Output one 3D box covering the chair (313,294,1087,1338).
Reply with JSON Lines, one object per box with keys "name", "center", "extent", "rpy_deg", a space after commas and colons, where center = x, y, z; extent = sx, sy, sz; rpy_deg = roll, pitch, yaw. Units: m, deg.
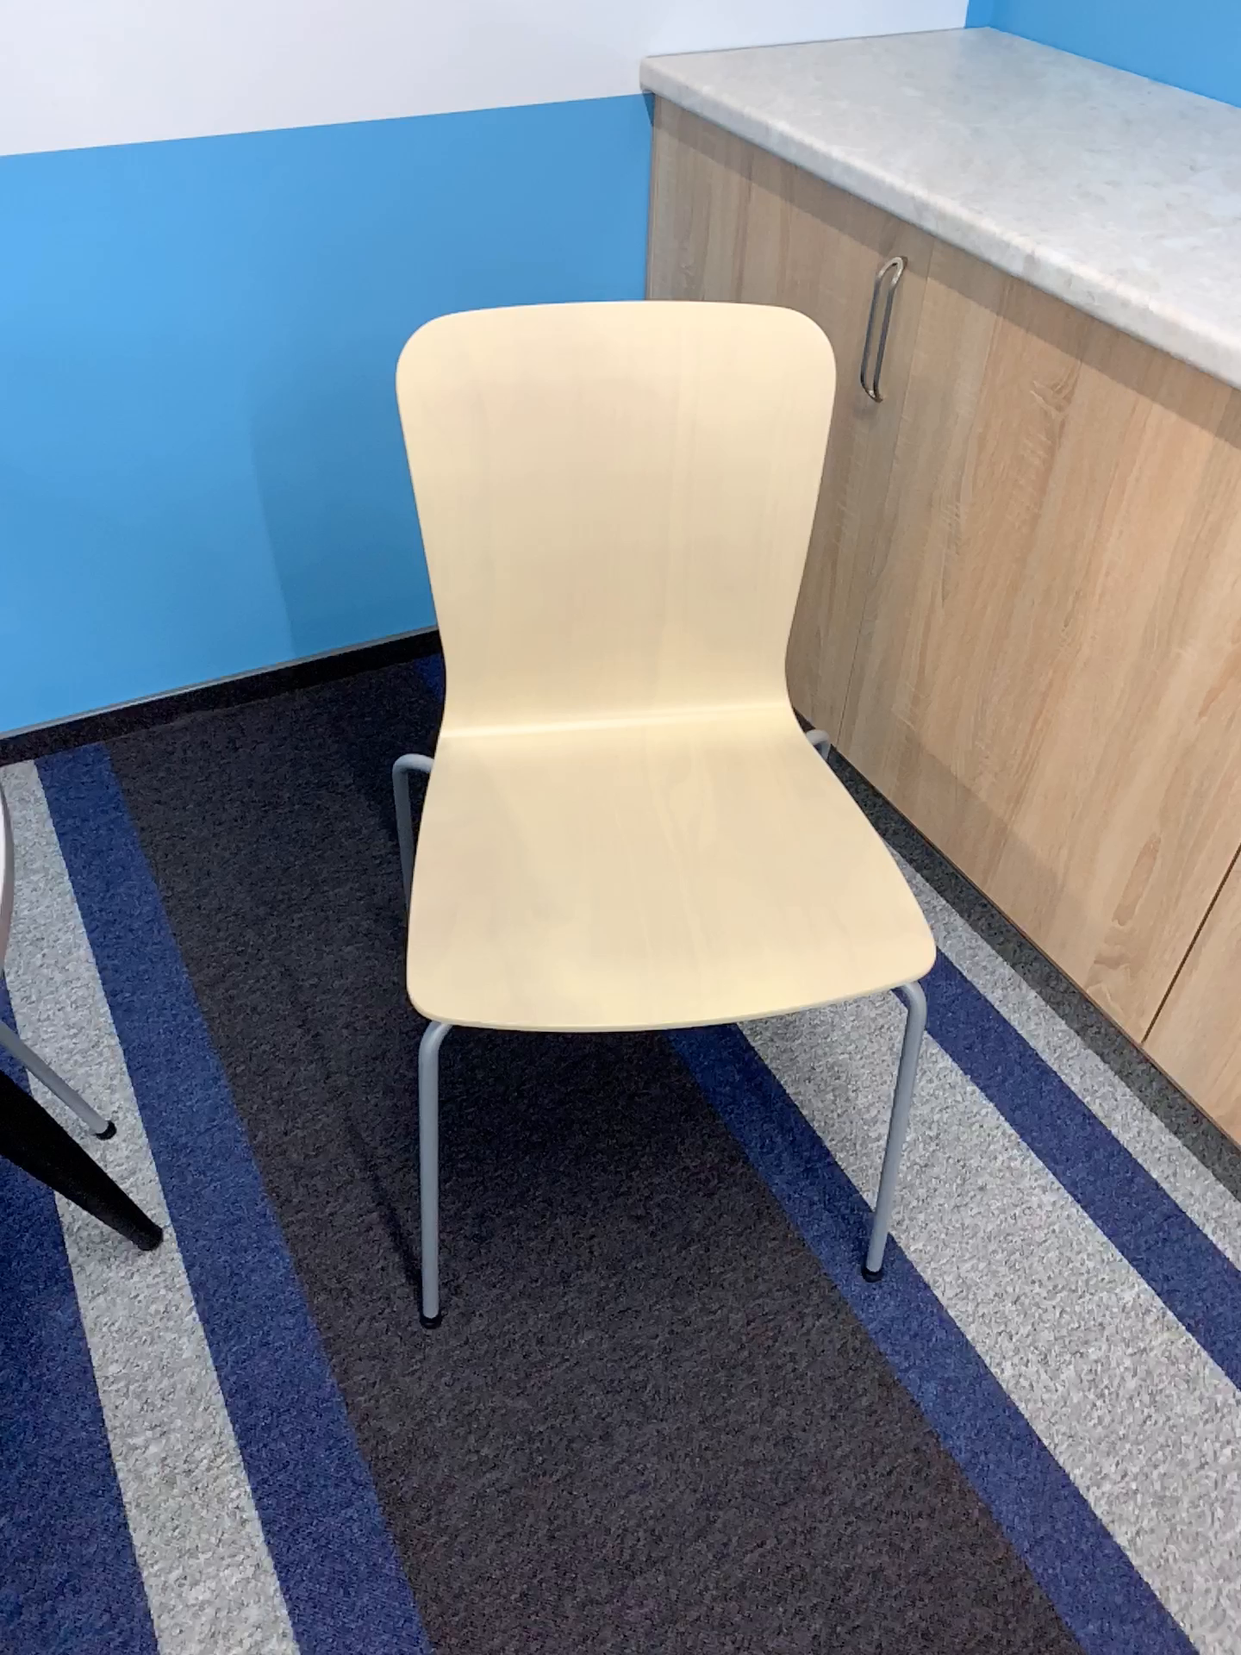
{"name": "chair", "center": [0.009, 0.003, 1.253], "extent": [0.476, 0.836, 0.573], "rpy_deg": [-3, 41, -6]}
